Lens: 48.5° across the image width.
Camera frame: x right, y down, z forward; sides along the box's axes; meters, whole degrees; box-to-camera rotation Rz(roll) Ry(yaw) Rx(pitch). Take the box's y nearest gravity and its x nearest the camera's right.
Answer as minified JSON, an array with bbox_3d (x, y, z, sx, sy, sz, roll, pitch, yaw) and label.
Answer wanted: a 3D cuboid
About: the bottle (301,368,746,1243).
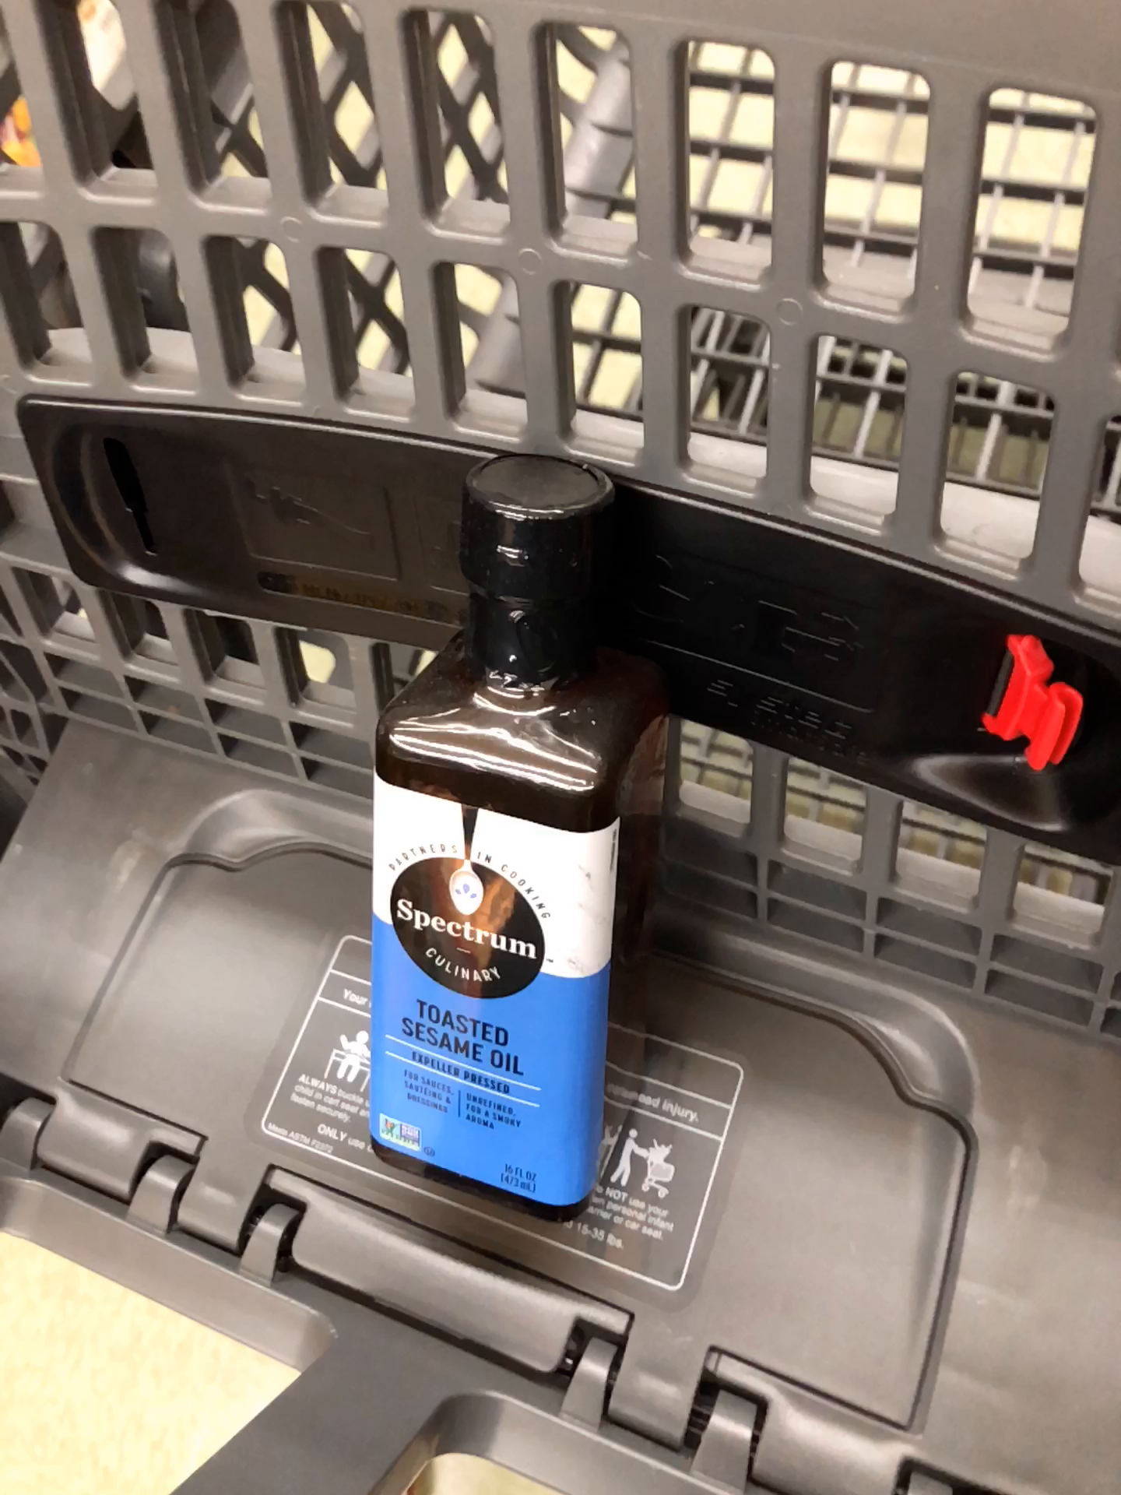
[{"bbox_3d":[-0.009,0.022,0.300,0.070,0.200,0.060,14,35,16],"label":"bottle"}]
